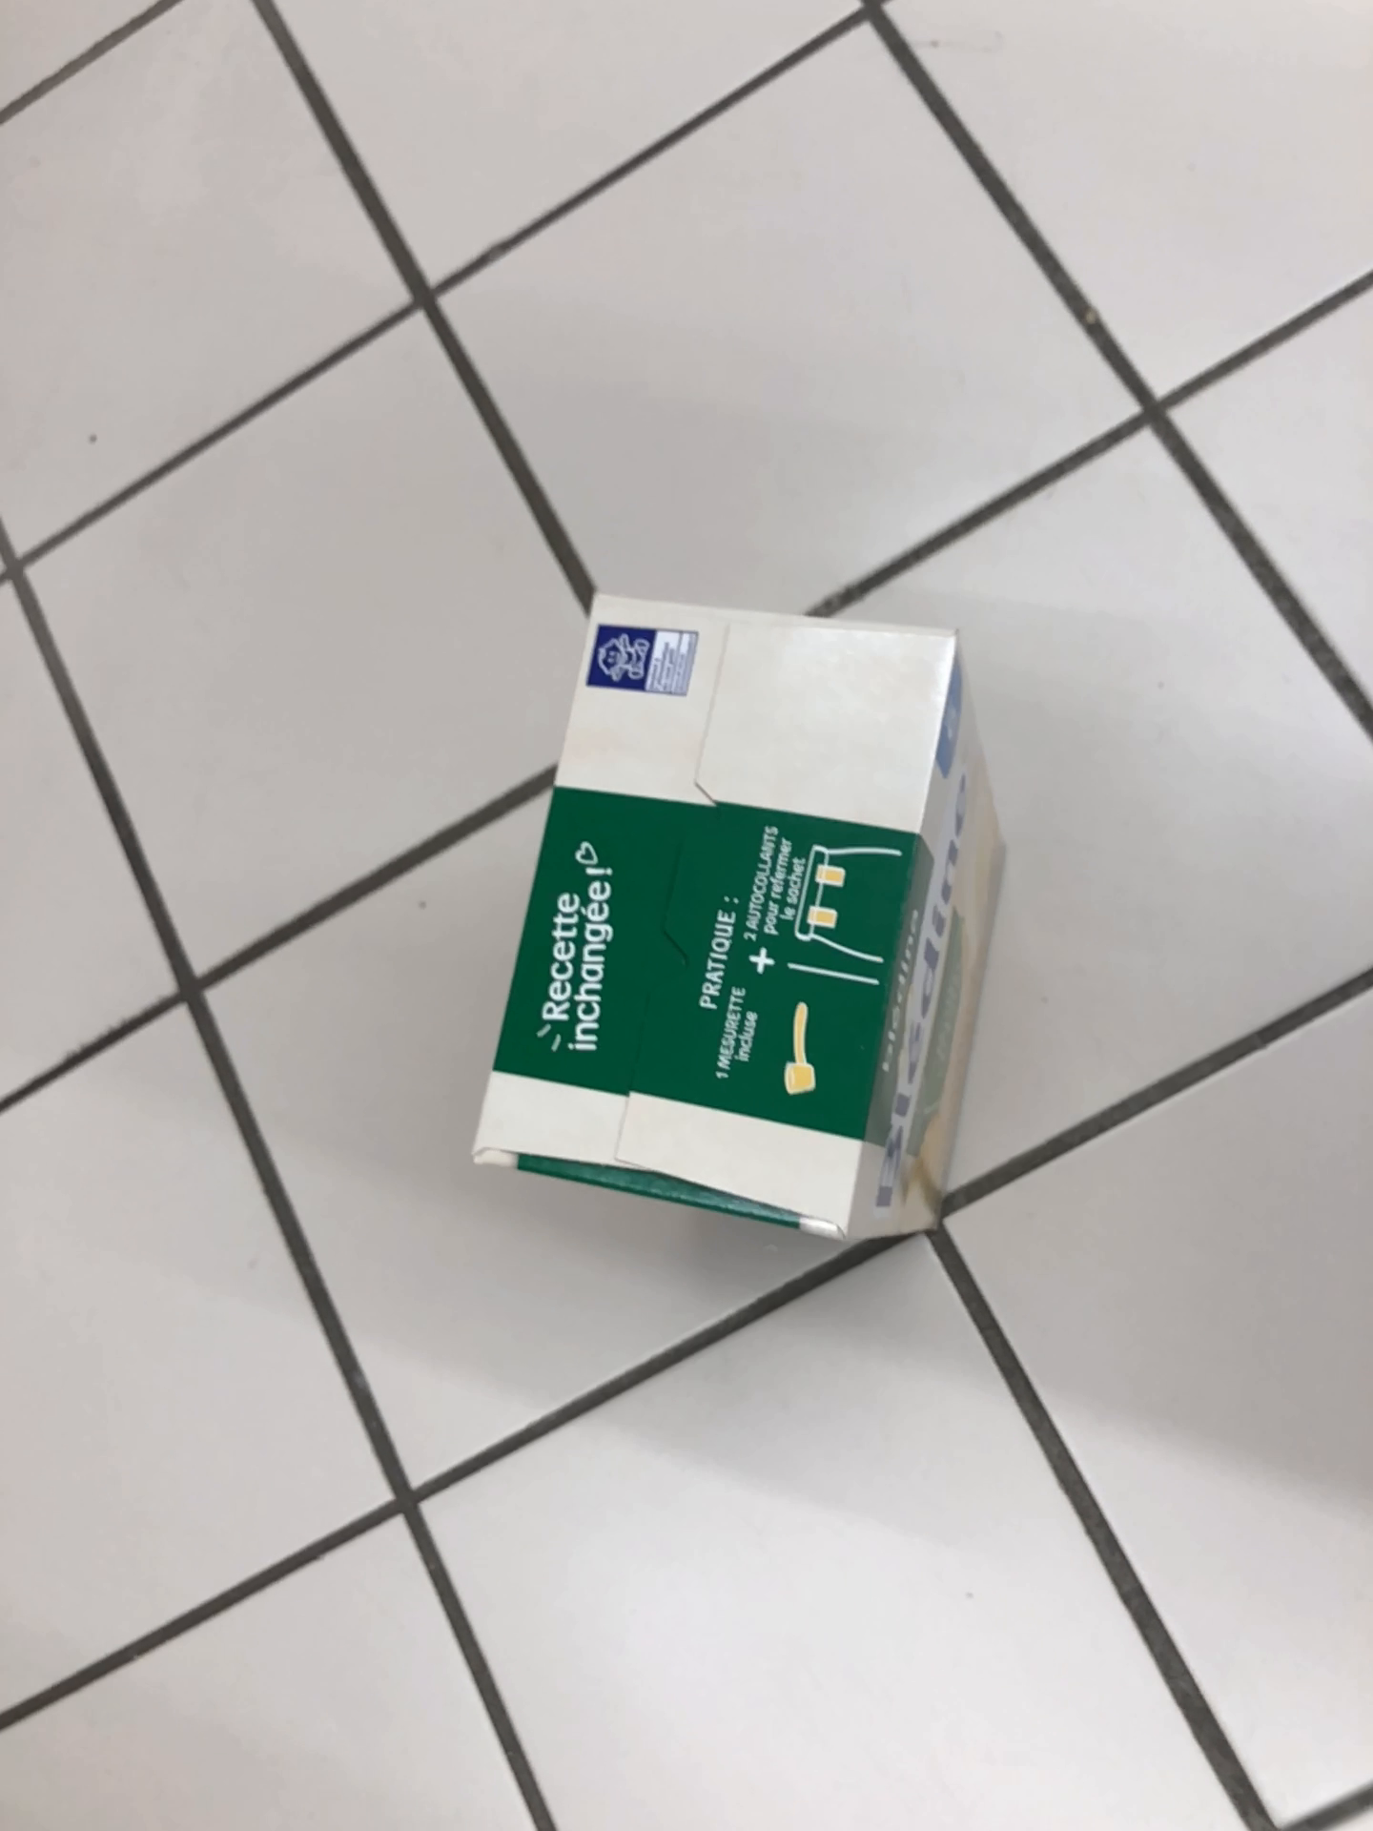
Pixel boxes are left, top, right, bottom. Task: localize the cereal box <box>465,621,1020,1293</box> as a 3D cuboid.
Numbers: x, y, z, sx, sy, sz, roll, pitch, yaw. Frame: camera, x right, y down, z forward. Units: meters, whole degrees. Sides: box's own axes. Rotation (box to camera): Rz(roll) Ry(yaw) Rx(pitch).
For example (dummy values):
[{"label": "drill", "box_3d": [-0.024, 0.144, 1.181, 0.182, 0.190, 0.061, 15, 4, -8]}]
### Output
[{"label": "cereal box", "box_3d": [0.032, 0.022, 0.417, 0.090, 0.200, 0.130, 10, 82, 15]}]
